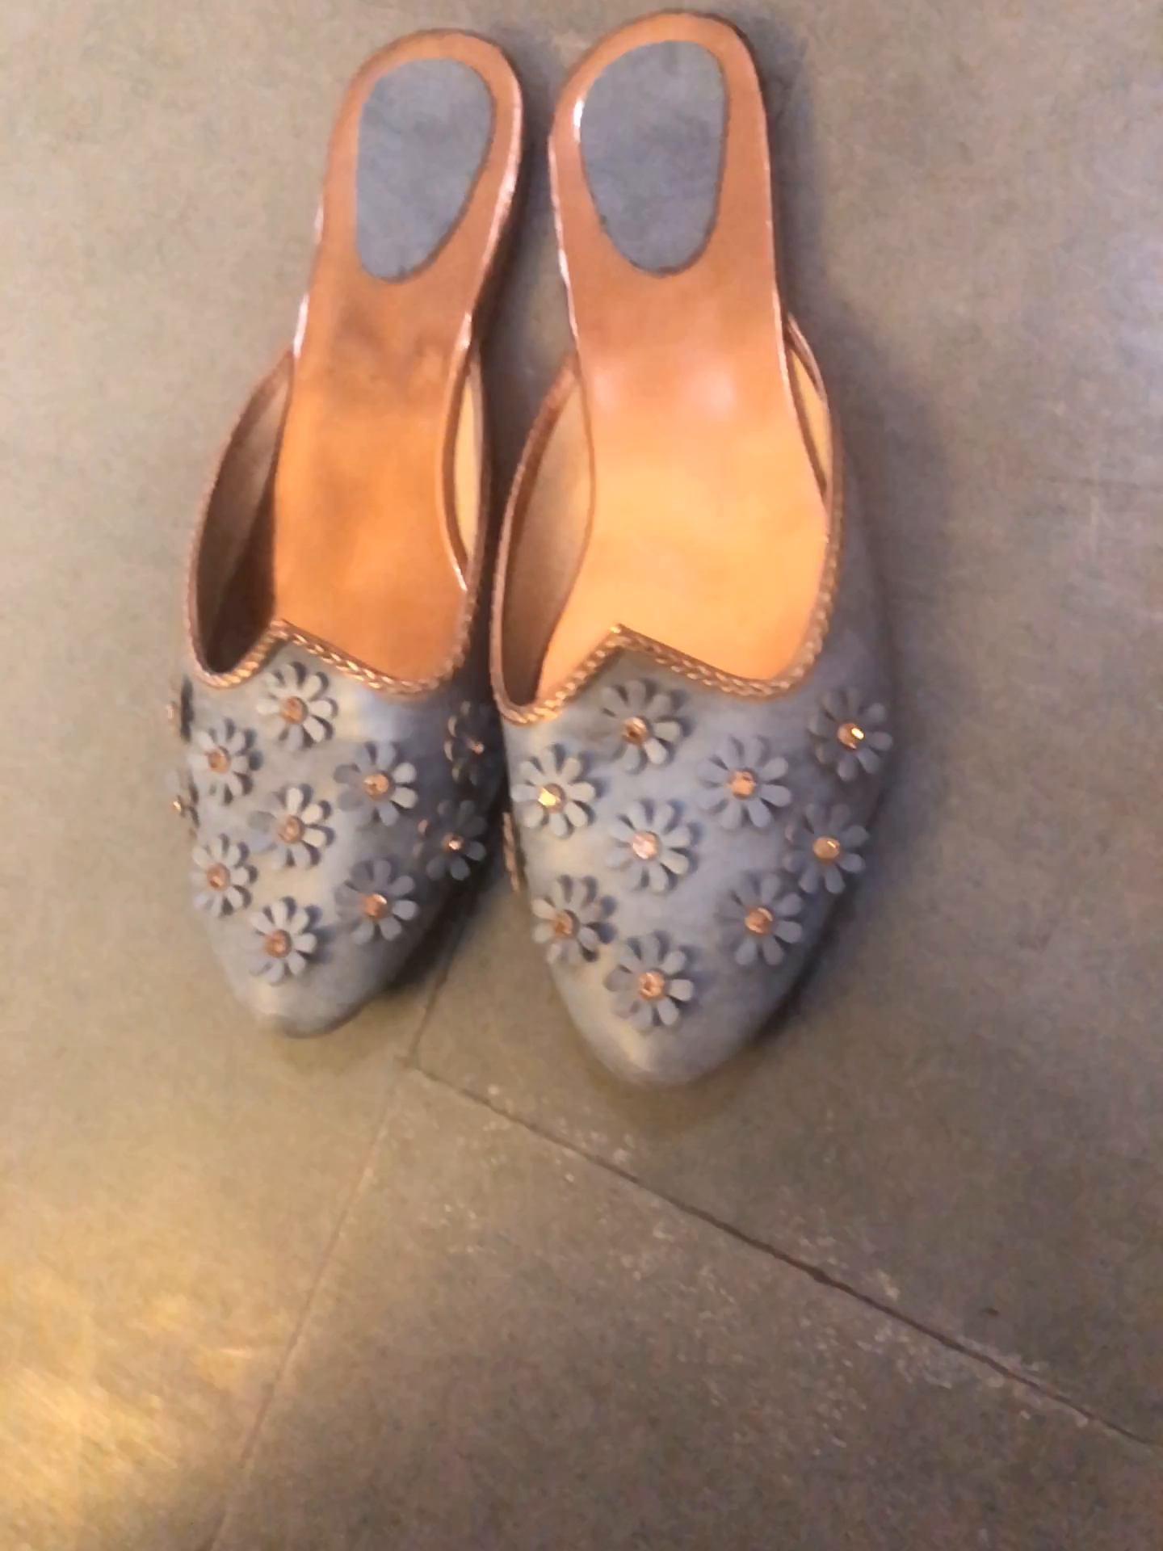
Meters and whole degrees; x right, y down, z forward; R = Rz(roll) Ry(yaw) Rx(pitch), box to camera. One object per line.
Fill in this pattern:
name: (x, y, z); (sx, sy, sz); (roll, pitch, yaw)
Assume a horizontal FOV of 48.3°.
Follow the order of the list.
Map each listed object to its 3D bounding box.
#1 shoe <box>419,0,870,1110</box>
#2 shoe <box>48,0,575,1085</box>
shoe: (0.016, -0.058, 0.329); (0.100, 0.050, 0.270); (-2, 83, 17)
shoe: (-0.069, -0.063, 0.349); (0.100, 0.050, 0.270); (4, 85, 18)
